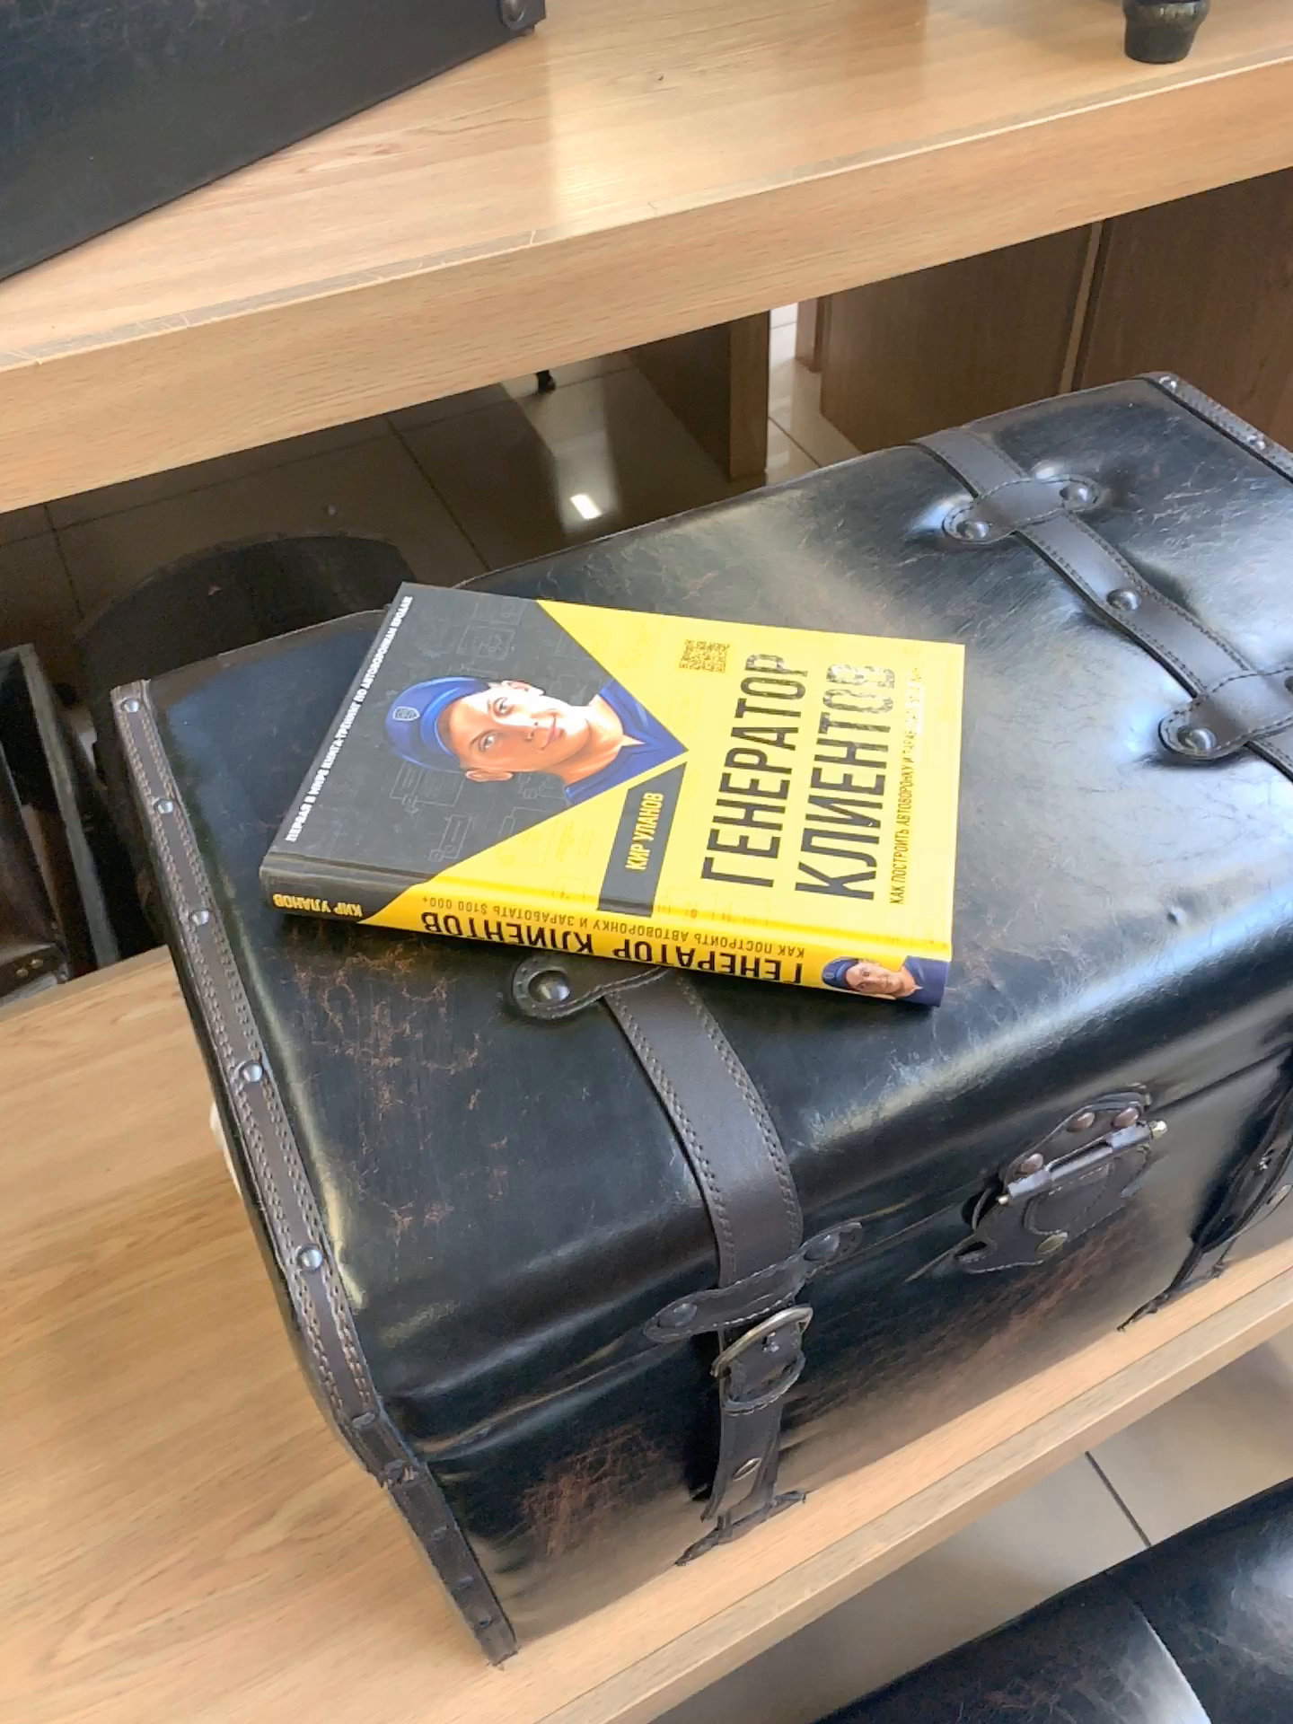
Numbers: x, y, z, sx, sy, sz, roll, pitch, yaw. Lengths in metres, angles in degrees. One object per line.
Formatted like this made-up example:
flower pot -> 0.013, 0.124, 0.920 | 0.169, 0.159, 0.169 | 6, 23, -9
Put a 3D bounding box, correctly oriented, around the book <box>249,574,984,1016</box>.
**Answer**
book -> -0.001, -0.035, 0.498 | 0.242, 0.030, 0.168 | 7, 49, 9
